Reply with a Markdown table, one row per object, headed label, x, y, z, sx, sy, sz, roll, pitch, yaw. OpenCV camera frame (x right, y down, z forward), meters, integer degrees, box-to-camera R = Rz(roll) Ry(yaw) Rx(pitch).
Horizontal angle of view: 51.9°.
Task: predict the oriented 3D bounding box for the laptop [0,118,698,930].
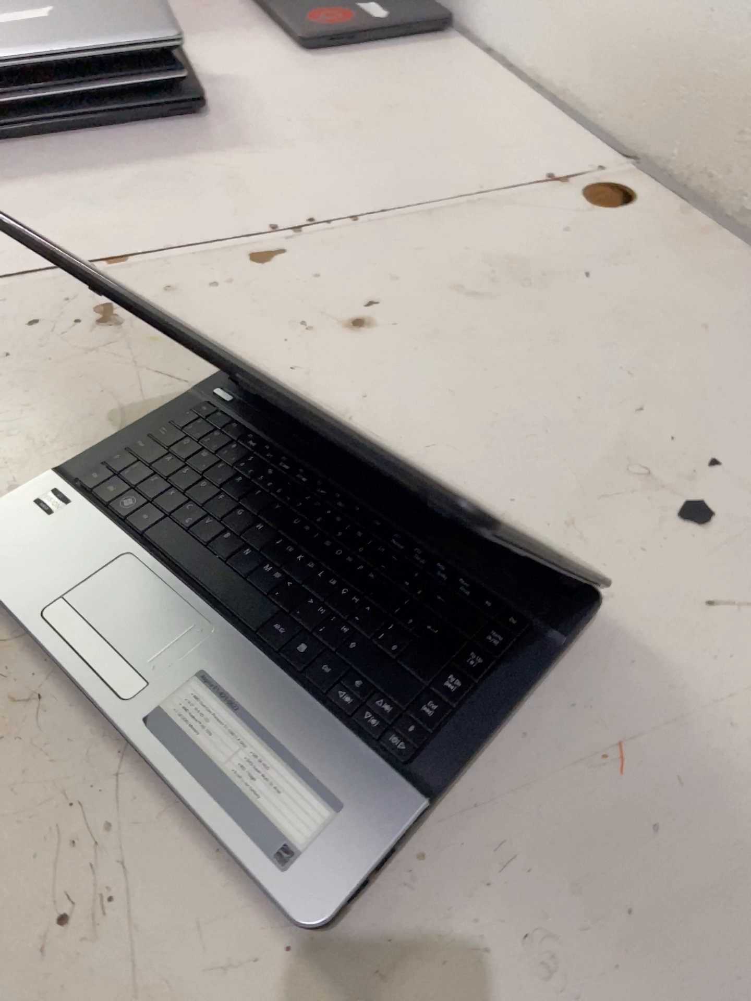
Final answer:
| label | x | y | z | sx | sy | sz | roll | pitch | yaw |
| --- | --- | --- | --- | --- | --- | --- | --- | --- | --- |
| laptop | -0.070 | -0.024 | 0.404 | 0.334 | 0.184 | 0.238 | 34 | 56 | 28 |
